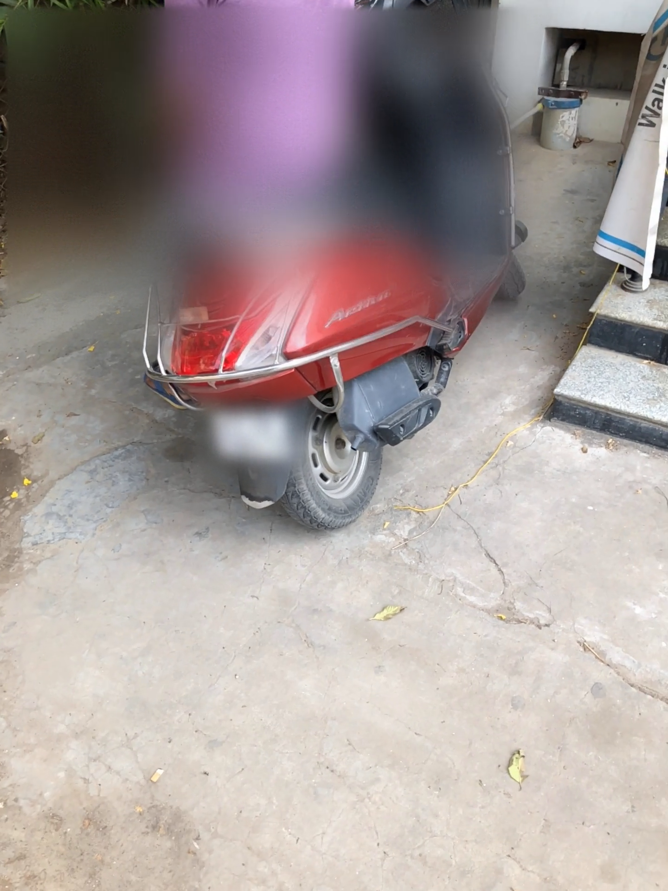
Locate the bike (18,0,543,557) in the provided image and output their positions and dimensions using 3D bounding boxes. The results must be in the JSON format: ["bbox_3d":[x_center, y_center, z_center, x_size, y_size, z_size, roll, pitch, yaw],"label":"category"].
[{"bbox_3d":[0.048,-0.685,1.929,0.571,1.056,1.487,13,41,18],"label":"bike"}]
